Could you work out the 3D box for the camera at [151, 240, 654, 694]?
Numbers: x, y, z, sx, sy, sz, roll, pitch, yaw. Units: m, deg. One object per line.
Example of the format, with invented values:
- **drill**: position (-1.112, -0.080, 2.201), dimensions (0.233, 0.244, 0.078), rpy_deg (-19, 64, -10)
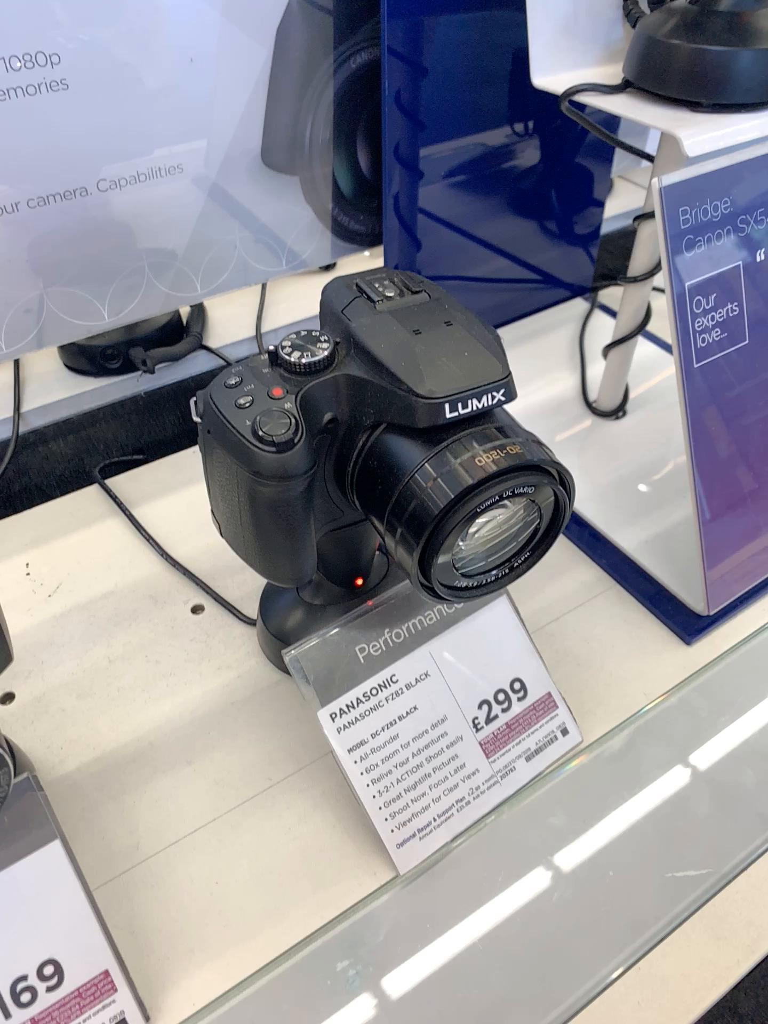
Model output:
- **camera**: position (0.002, -0.026, 0.300), dimensions (0.130, 0.079, 0.121), rpy_deg (-22, 49, -21)
